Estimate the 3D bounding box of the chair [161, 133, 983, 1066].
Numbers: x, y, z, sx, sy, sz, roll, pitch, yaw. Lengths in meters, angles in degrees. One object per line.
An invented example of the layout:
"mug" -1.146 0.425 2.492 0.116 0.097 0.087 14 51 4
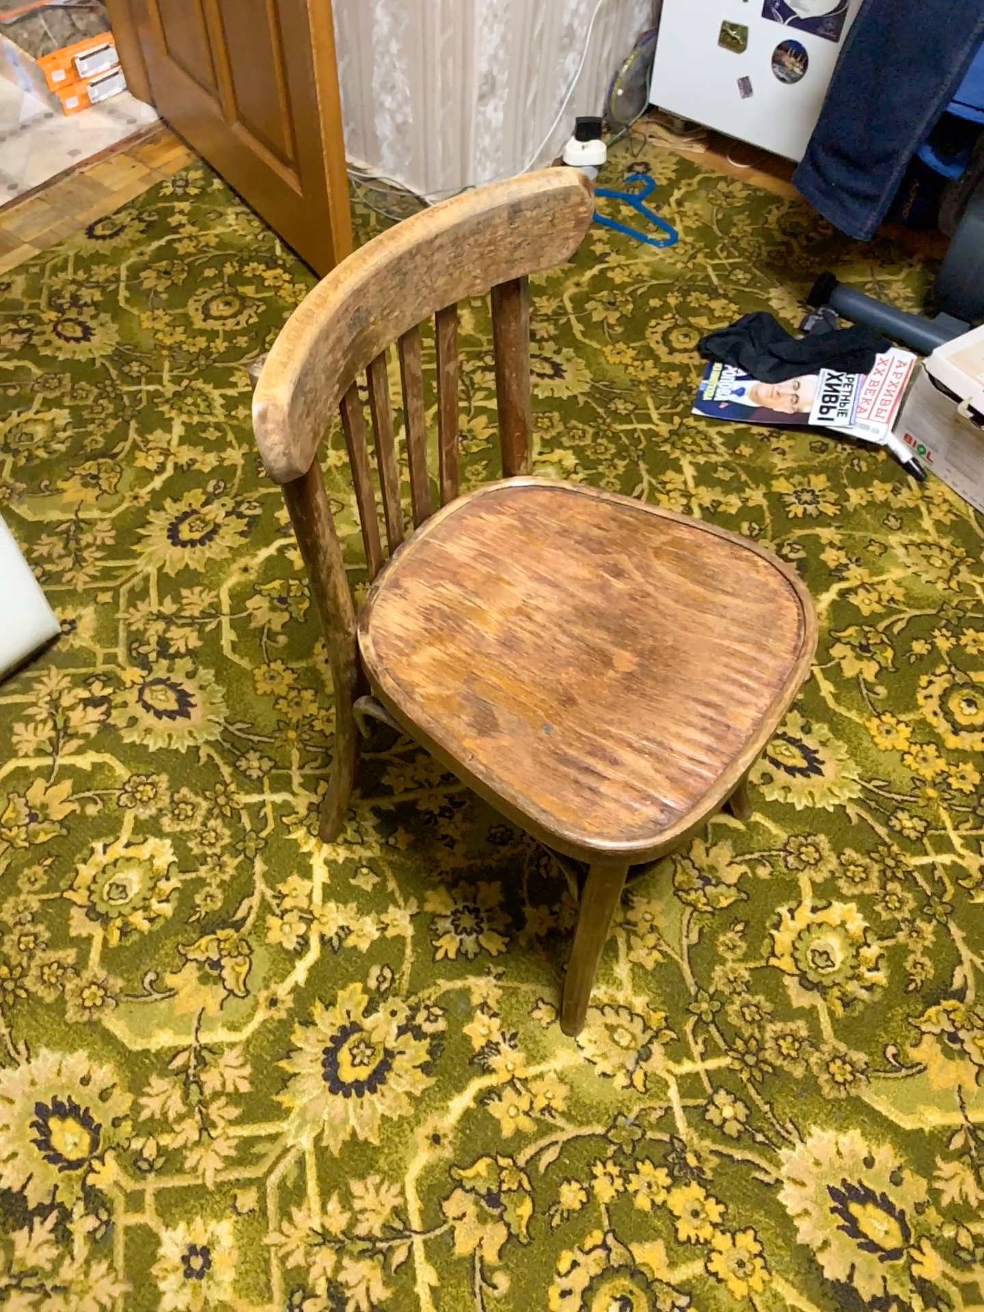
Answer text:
"chair" 0.060 0.009 0.975 0.411 0.735 0.401 35 61 21
